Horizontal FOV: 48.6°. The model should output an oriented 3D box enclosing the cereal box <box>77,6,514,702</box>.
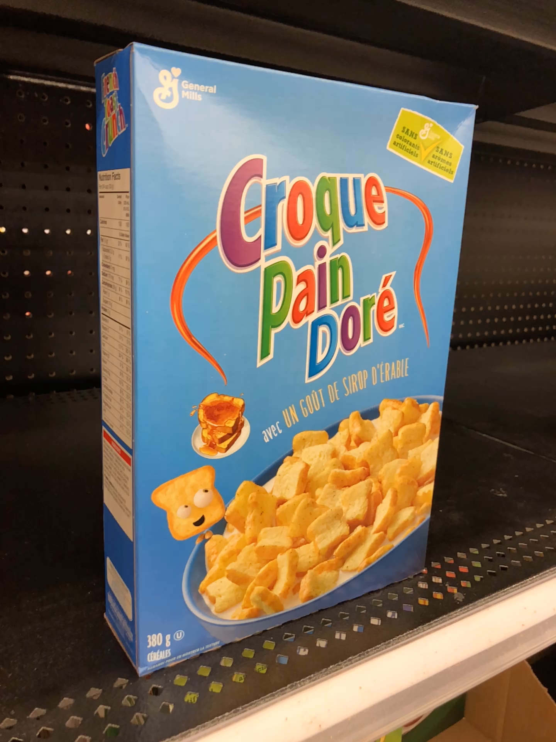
[{"bbox_3d":[0.015,-0.005,0.311,0.210,0.269,0.050,-6,16,-33],"label":"cereal box"}]
